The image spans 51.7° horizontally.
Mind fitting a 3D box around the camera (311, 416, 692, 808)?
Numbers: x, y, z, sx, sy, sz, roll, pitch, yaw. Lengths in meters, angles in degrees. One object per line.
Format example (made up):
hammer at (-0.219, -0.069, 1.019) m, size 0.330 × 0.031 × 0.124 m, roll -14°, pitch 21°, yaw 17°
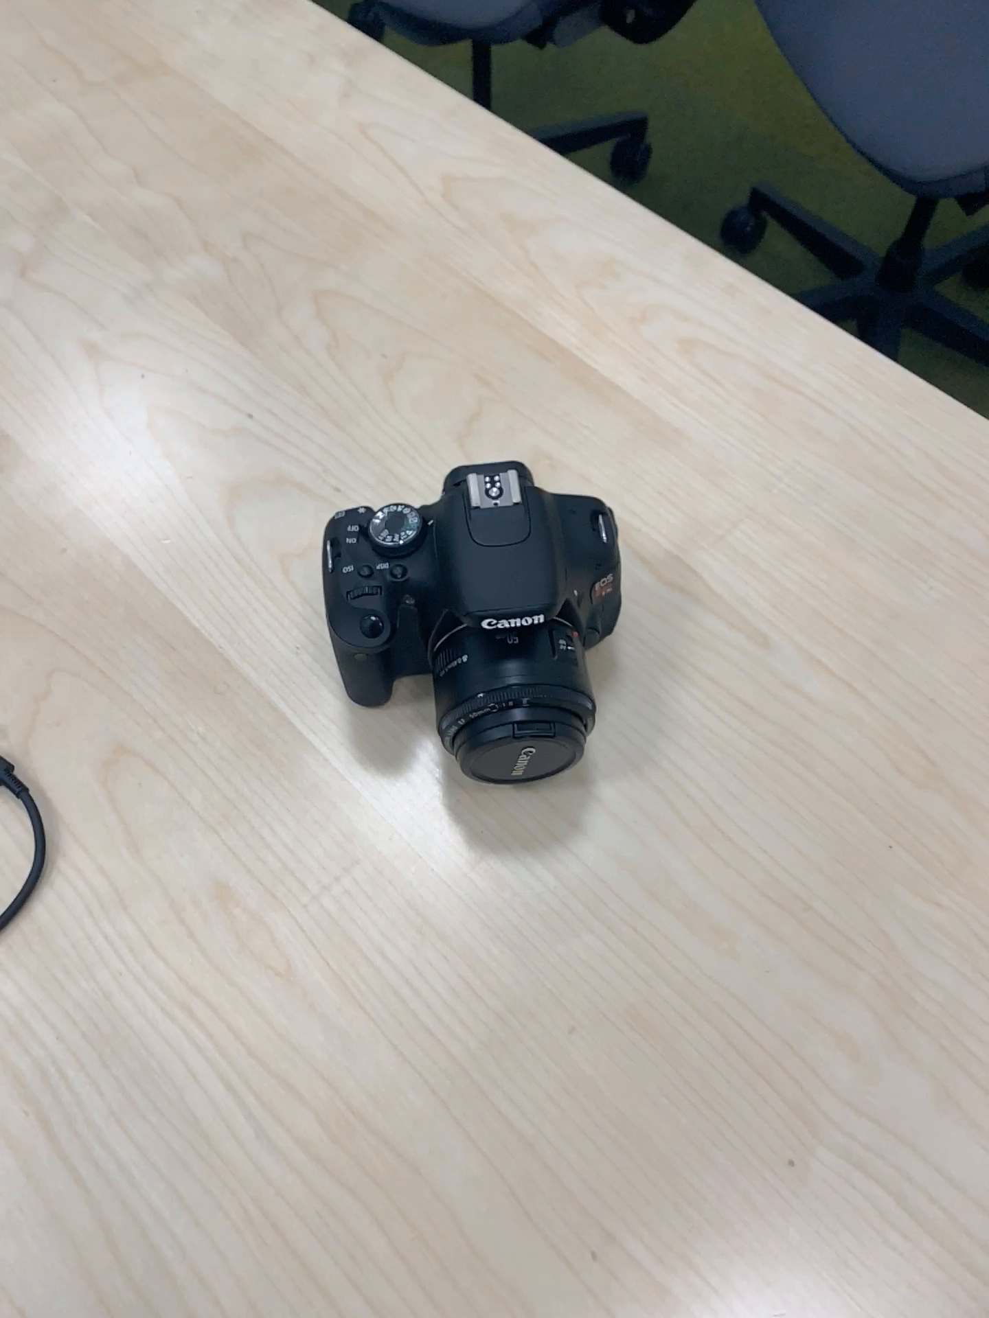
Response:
camera at (-0.002, -0.018, 0.425) m, size 0.130 × 0.090 × 0.120 m, roll -6°, pitch 61°, yaw -3°
